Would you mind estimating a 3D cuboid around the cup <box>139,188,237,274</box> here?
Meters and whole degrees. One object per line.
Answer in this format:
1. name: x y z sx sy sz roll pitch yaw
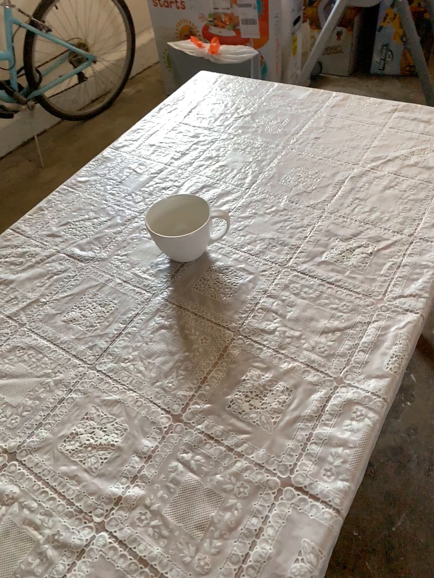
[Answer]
1. cup: -0.044 -0.093 0.707 0.140 0.070 0.100 -7 50 3
